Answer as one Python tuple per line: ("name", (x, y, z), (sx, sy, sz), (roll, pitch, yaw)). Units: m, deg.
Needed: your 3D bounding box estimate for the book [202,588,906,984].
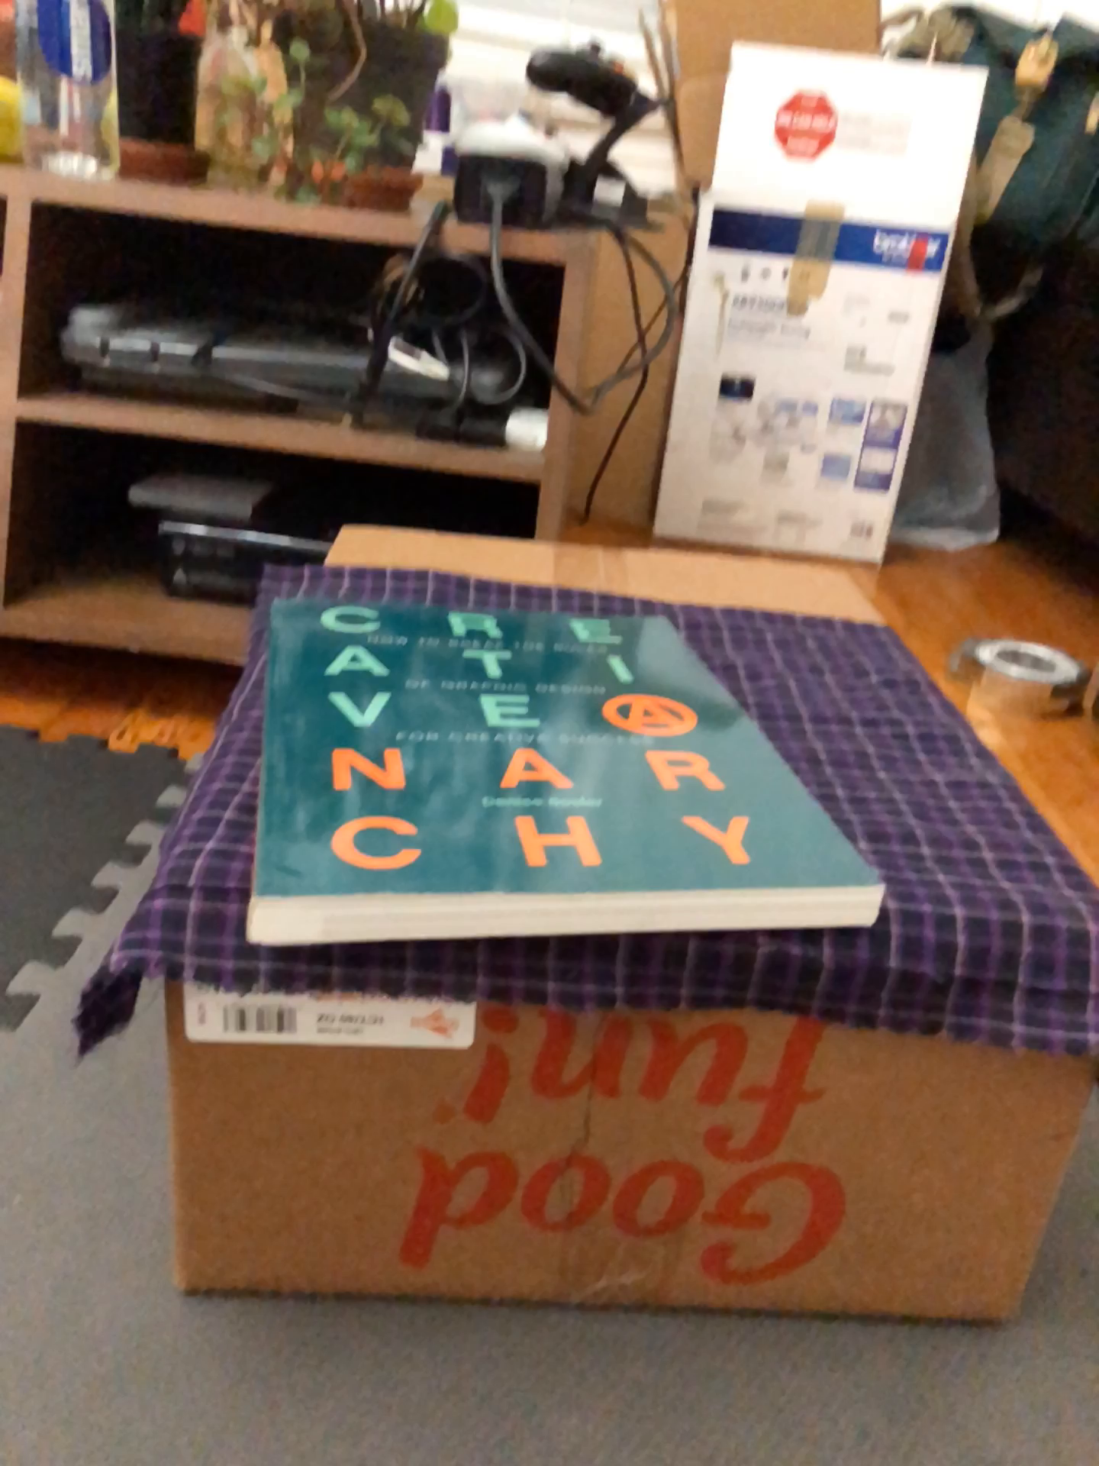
("book", (-0.021, 0.001, 0.505), (0.220, 0.020, 0.301), (1, 25, -13))
